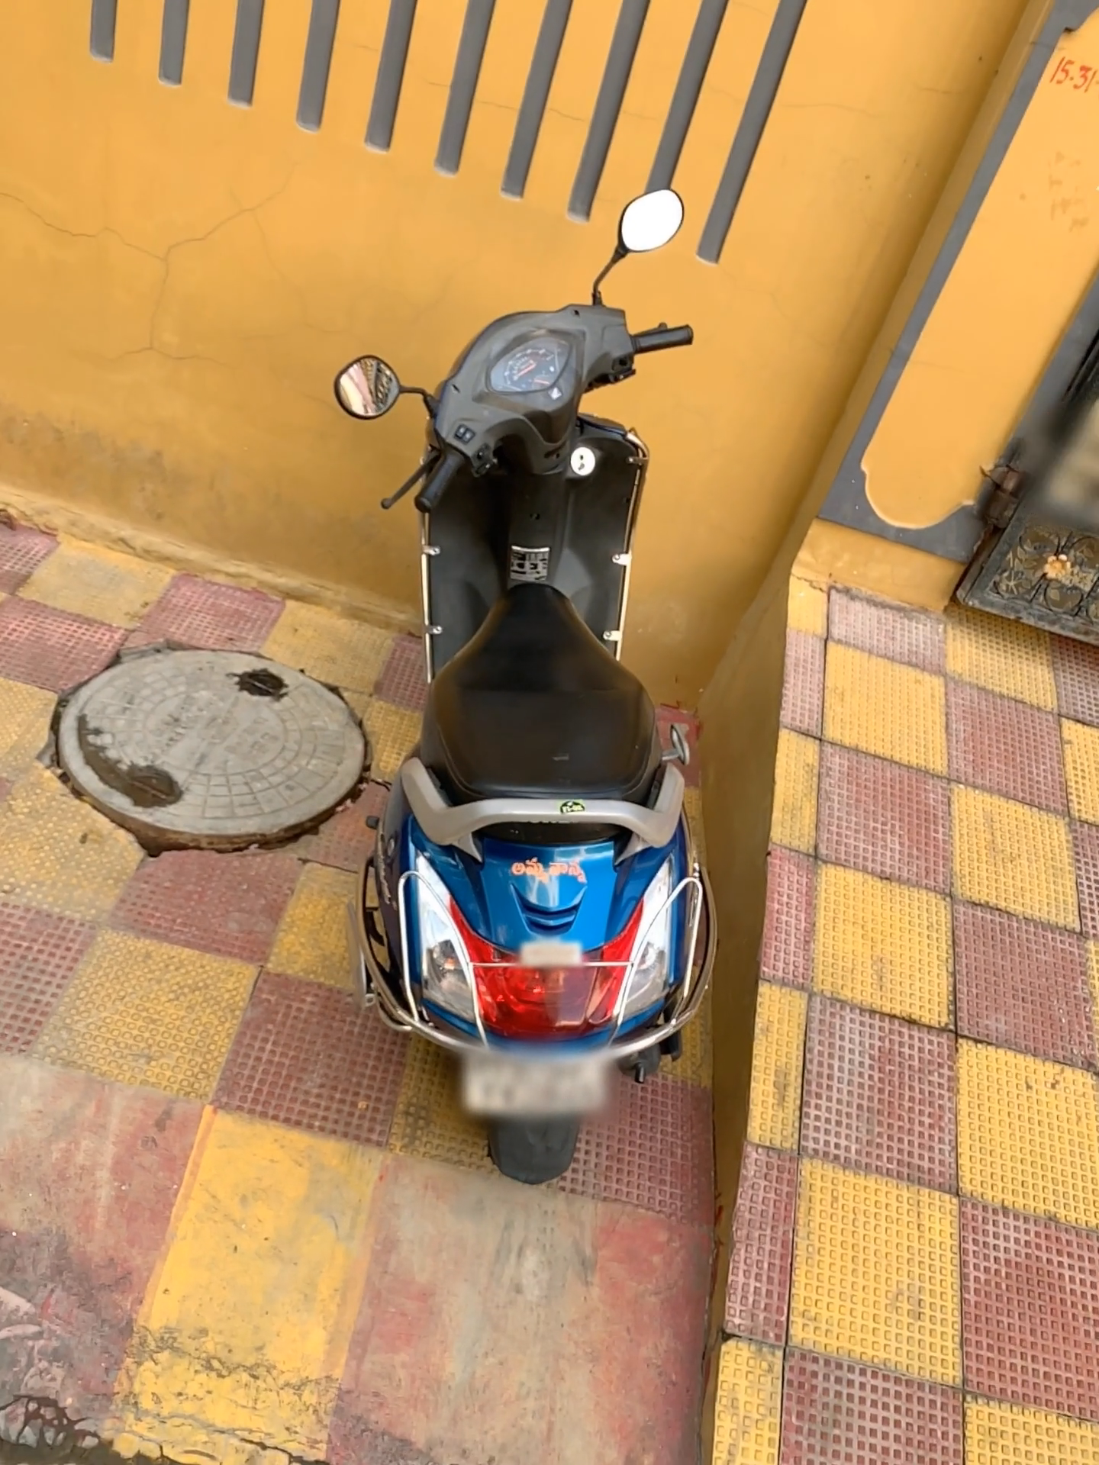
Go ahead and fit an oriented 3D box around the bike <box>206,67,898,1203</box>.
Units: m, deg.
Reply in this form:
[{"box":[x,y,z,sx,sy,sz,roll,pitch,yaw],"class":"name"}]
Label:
[{"box":[-0.156,-0.271,1.997,0.596,1.098,1.532,9,39,-16],"class":"bike"}]
